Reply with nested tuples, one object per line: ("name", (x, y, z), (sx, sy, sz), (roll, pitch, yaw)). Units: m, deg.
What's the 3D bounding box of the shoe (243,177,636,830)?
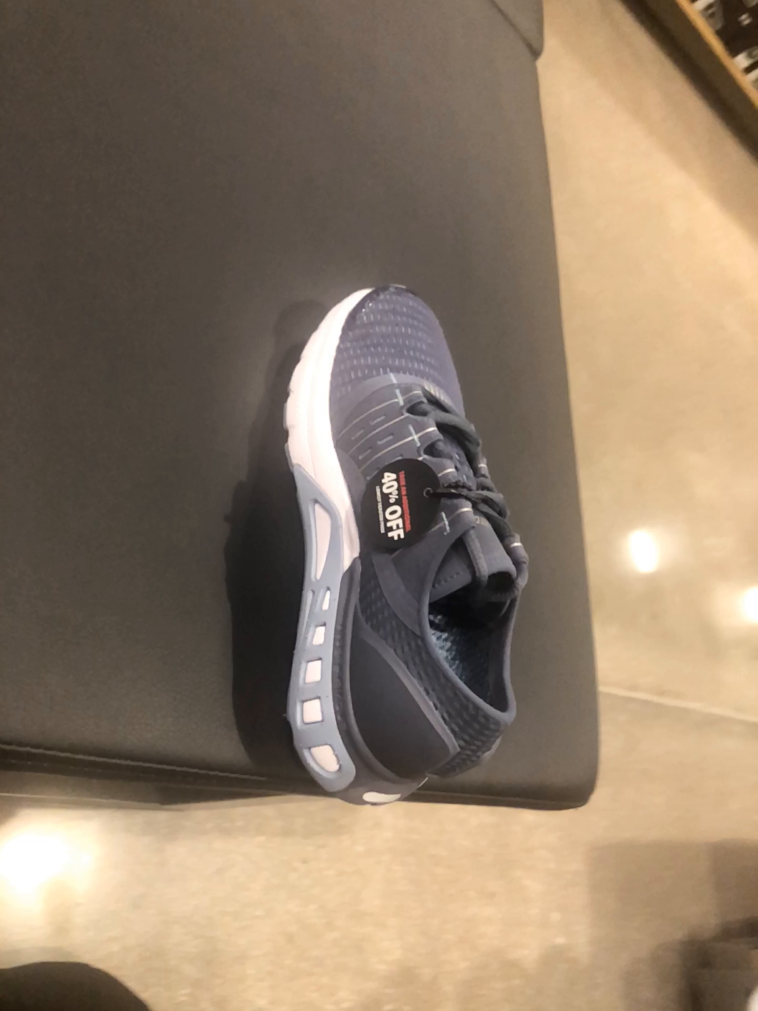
("shoe", (0.027, 0.006, 0.382), (0.121, 0.097, 0.254), (23, 57, -39))
